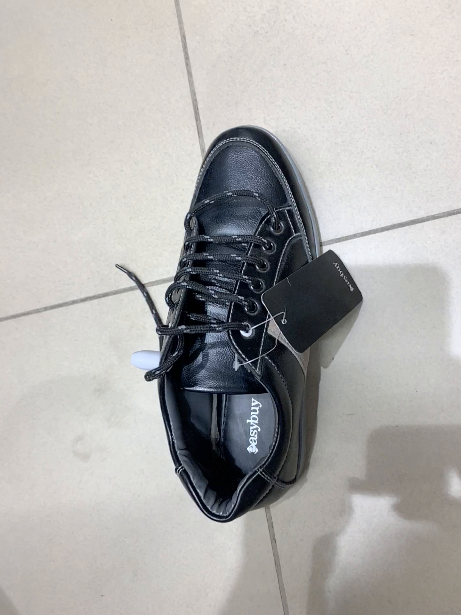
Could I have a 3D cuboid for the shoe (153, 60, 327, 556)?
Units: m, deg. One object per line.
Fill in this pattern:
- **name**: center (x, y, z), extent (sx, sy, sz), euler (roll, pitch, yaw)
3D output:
- **shoe**: center (0.010, -0.001, 0.344), extent (0.100, 0.090, 0.300), euler (-2, 85, 17)
